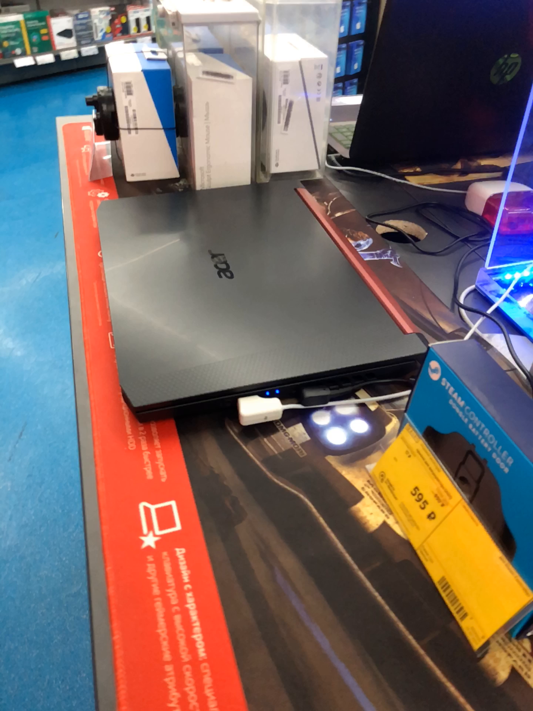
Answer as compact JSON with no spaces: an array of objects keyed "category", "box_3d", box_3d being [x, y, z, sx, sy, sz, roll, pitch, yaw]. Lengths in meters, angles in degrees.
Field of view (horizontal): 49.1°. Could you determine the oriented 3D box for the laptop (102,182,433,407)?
[{"category":"laptop","box_3d":[-0.029,-0.091,0.589,0.242,0.005,0.352,-10,41,-13]}]
